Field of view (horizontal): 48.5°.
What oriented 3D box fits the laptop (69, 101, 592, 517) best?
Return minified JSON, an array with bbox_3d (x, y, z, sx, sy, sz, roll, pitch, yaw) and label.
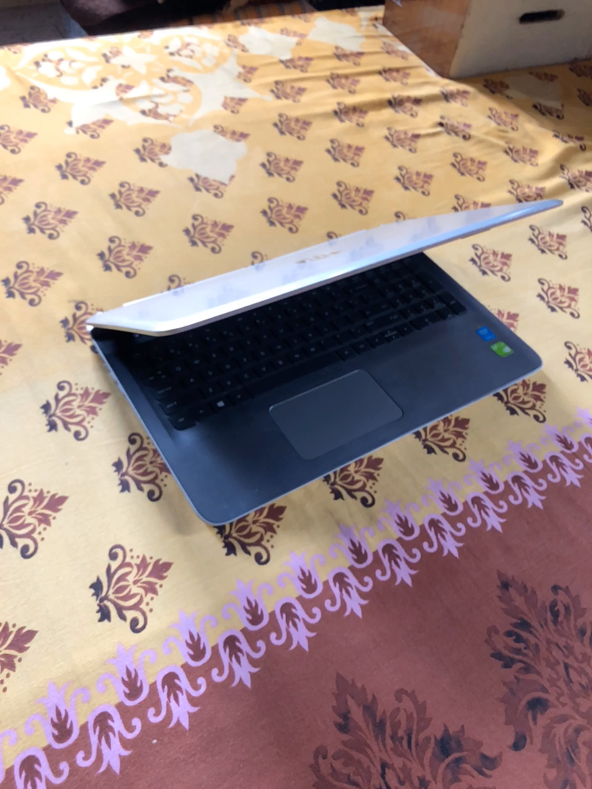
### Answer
[{"bbox_3d":[0.034,-0.104,0.588,0.372,0.155,0.249,-22,55,-24],"label":"laptop"}]
